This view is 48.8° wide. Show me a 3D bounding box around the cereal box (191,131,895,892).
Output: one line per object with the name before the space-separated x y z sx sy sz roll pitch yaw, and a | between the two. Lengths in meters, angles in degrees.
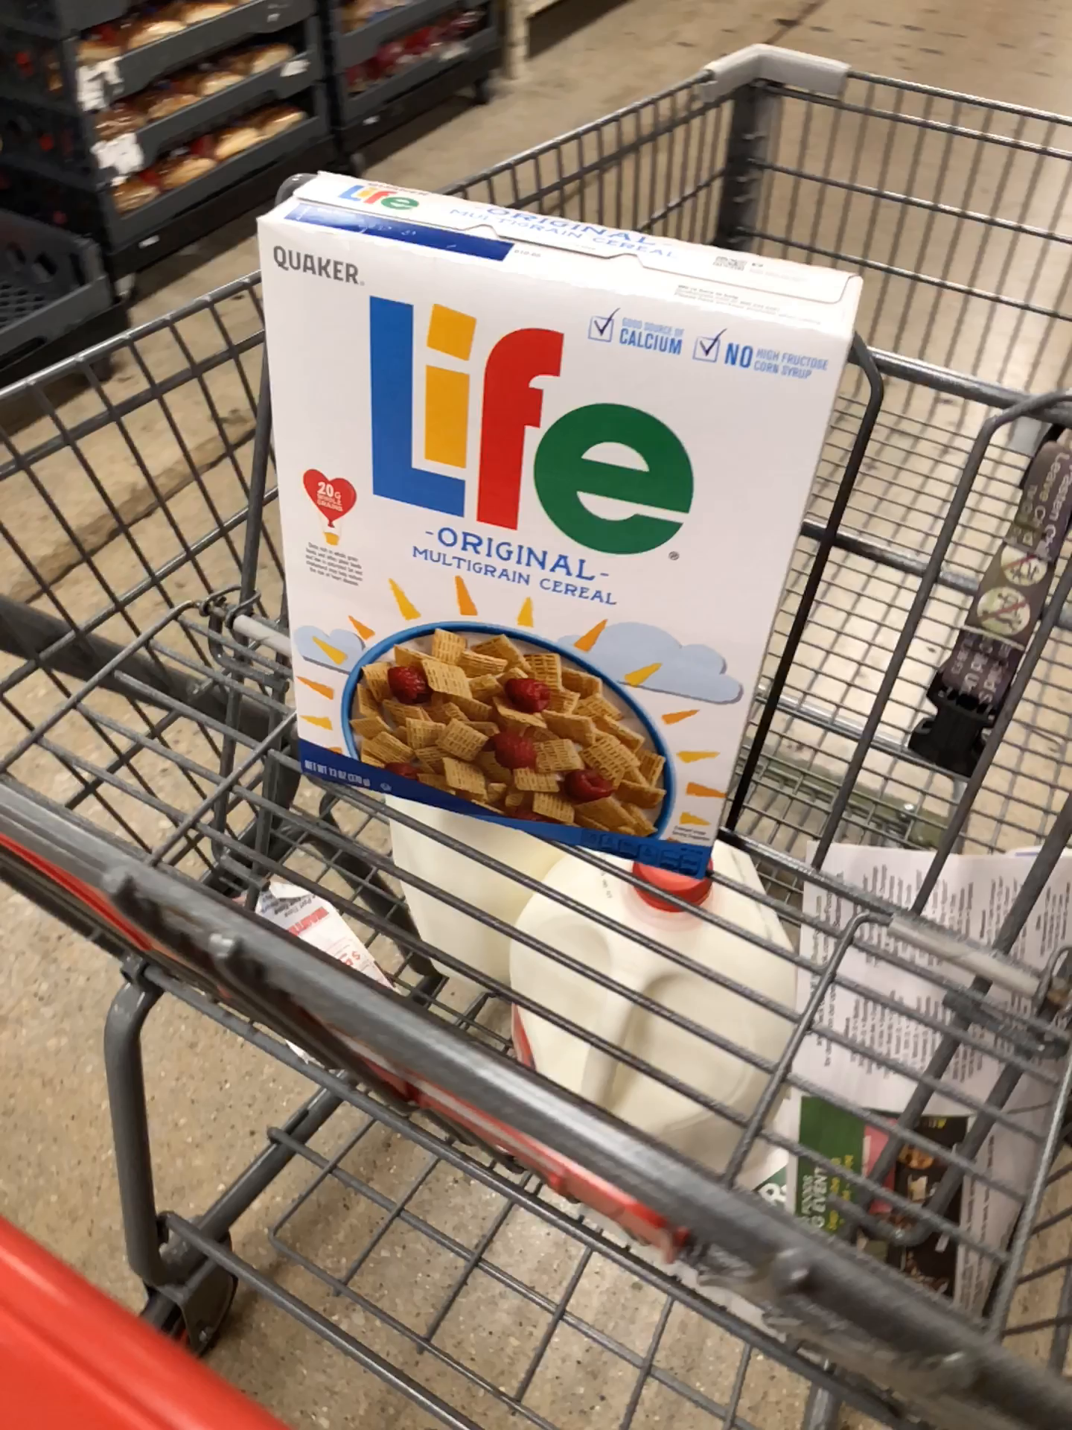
cereal box | -0.006 -0.059 0.425 0.200 0.239 0.050 15 43 11
